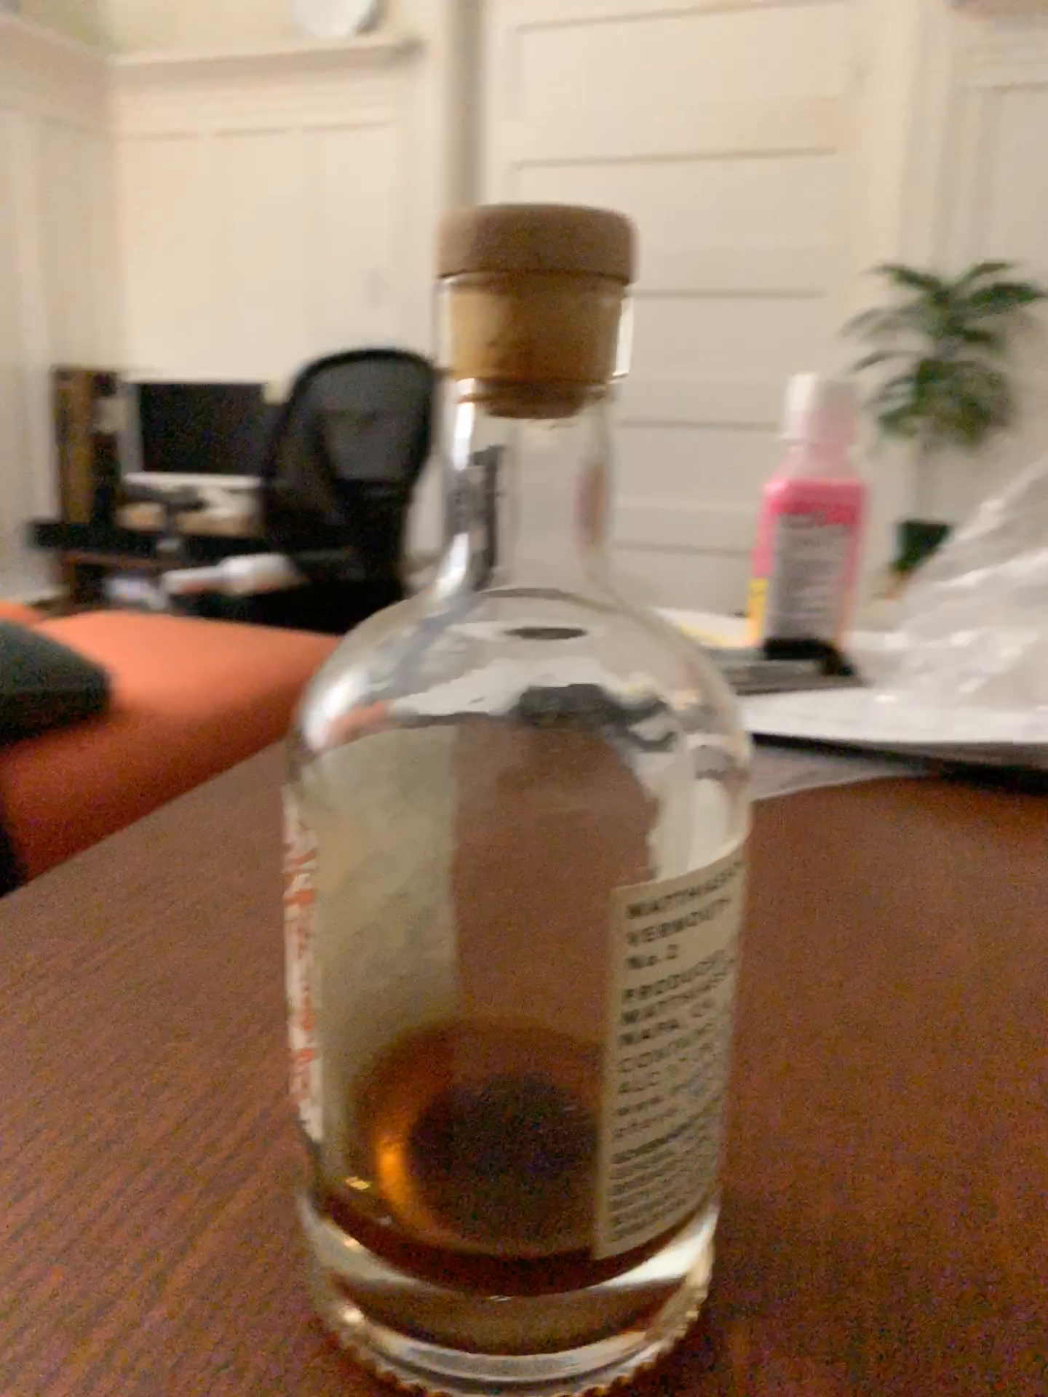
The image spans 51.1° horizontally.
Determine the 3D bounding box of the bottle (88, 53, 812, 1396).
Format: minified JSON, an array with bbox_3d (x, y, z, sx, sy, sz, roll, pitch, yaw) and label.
[{"bbox_3d":[-0.003,0.013,0.183,0.080,0.189,0.090,6,15,14],"label":"bottle"}]
